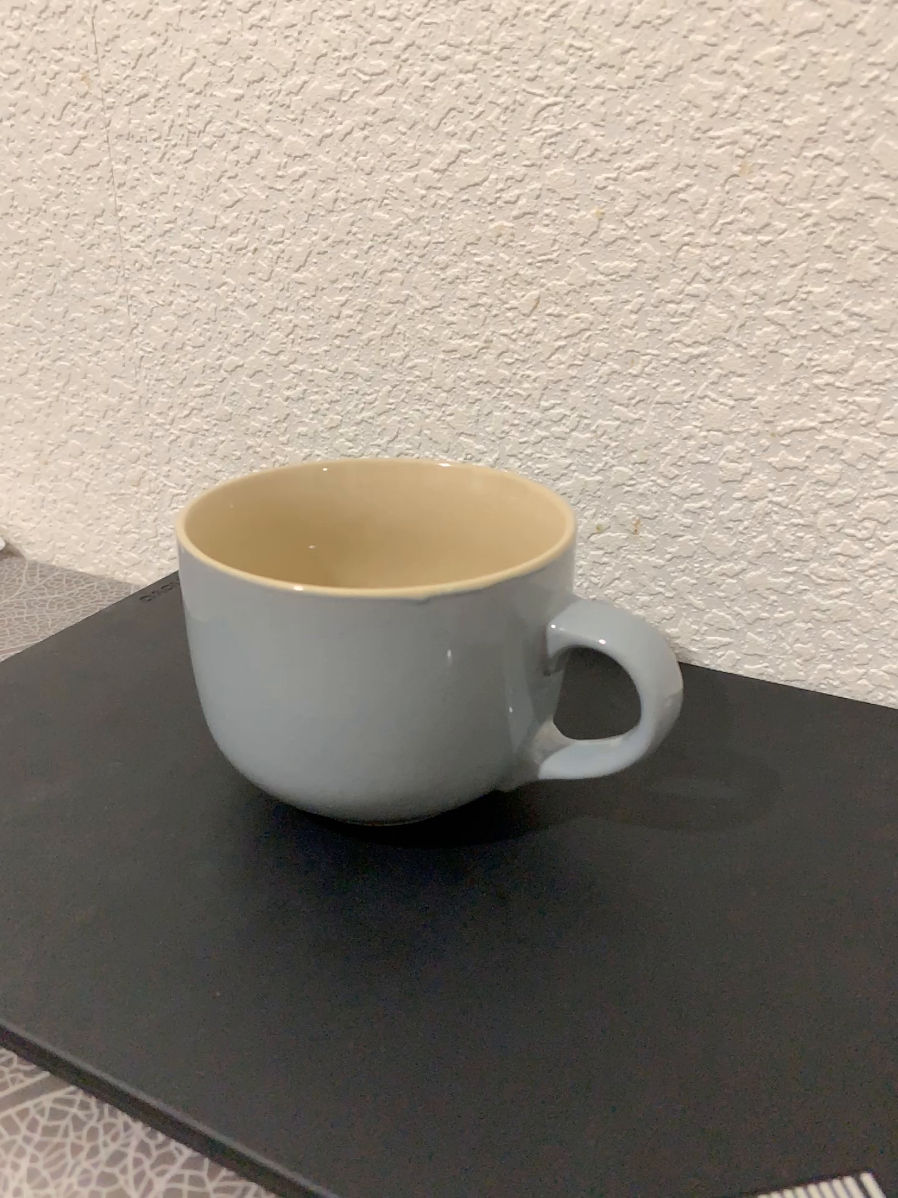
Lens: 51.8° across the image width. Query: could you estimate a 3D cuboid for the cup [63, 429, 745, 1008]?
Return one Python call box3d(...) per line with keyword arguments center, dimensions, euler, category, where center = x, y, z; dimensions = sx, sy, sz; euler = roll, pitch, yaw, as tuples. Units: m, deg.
box3d(center=(-0.008, 0.014, 0.250), dimensions=(0.133, 0.079, 0.111), euler=(15, 28, 30), category="cup")
